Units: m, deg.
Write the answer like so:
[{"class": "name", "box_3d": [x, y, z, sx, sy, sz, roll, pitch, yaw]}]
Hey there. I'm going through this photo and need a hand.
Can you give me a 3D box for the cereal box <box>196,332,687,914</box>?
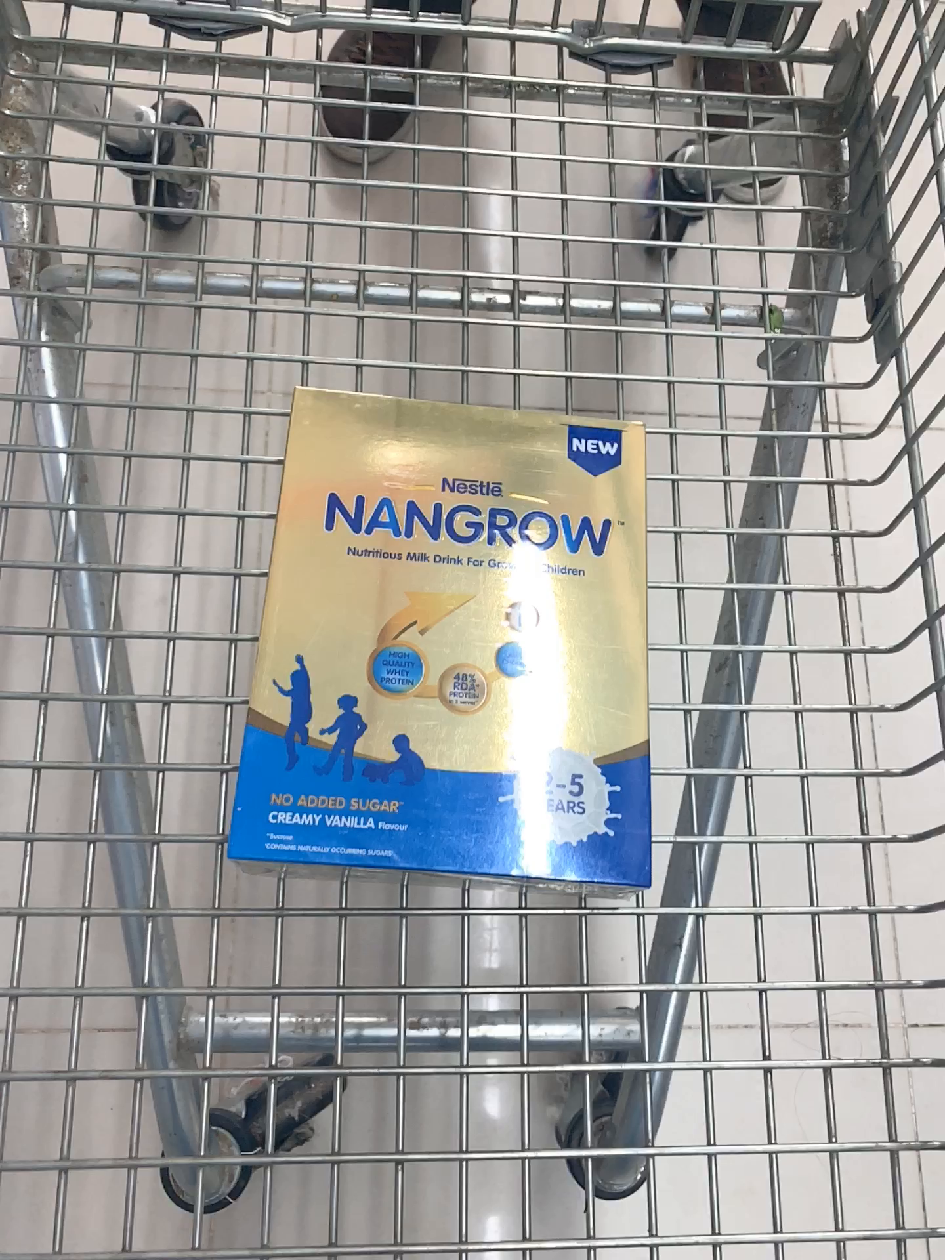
[{"class": "cereal box", "box_3d": [-0.005, -0.001, 0.355, 0.150, 0.060, 0.190, 6, 74, -4]}]
